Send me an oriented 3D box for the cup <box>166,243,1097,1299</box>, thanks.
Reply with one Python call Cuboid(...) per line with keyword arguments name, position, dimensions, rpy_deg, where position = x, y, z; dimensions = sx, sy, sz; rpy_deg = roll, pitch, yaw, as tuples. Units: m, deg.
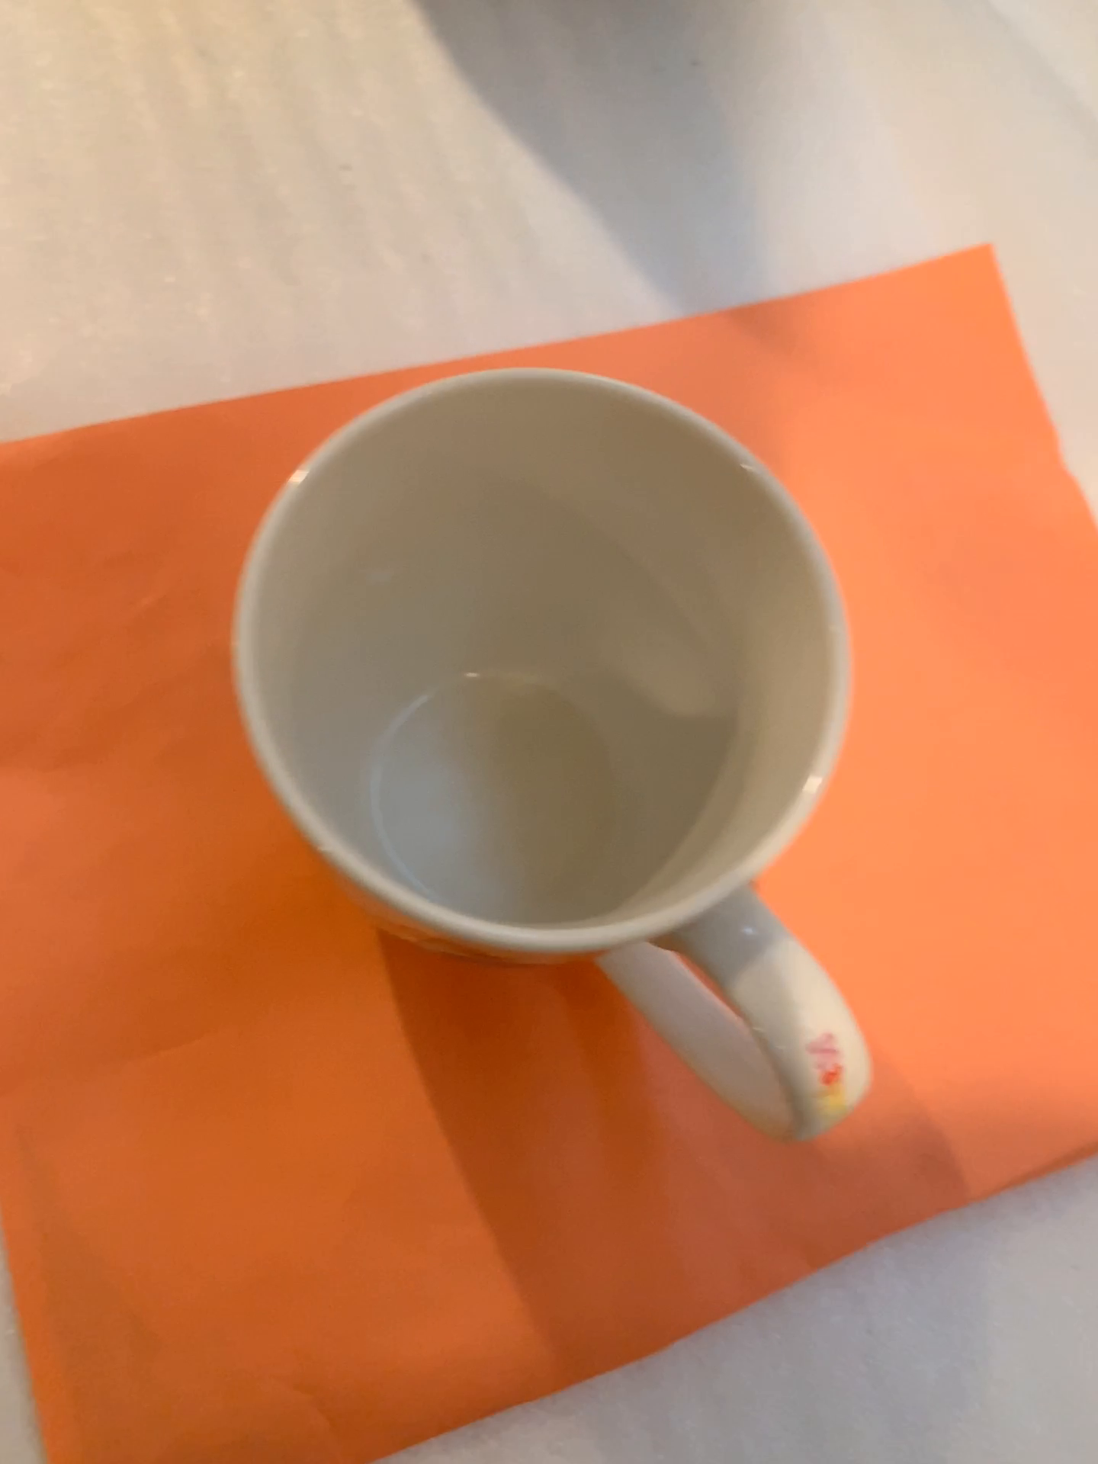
Cuboid(name="cup", position=(0.012, 0.008, 0.200), dimensions=(0.090, 0.090, 0.120), rpy_deg=(-31, 80, -16))
